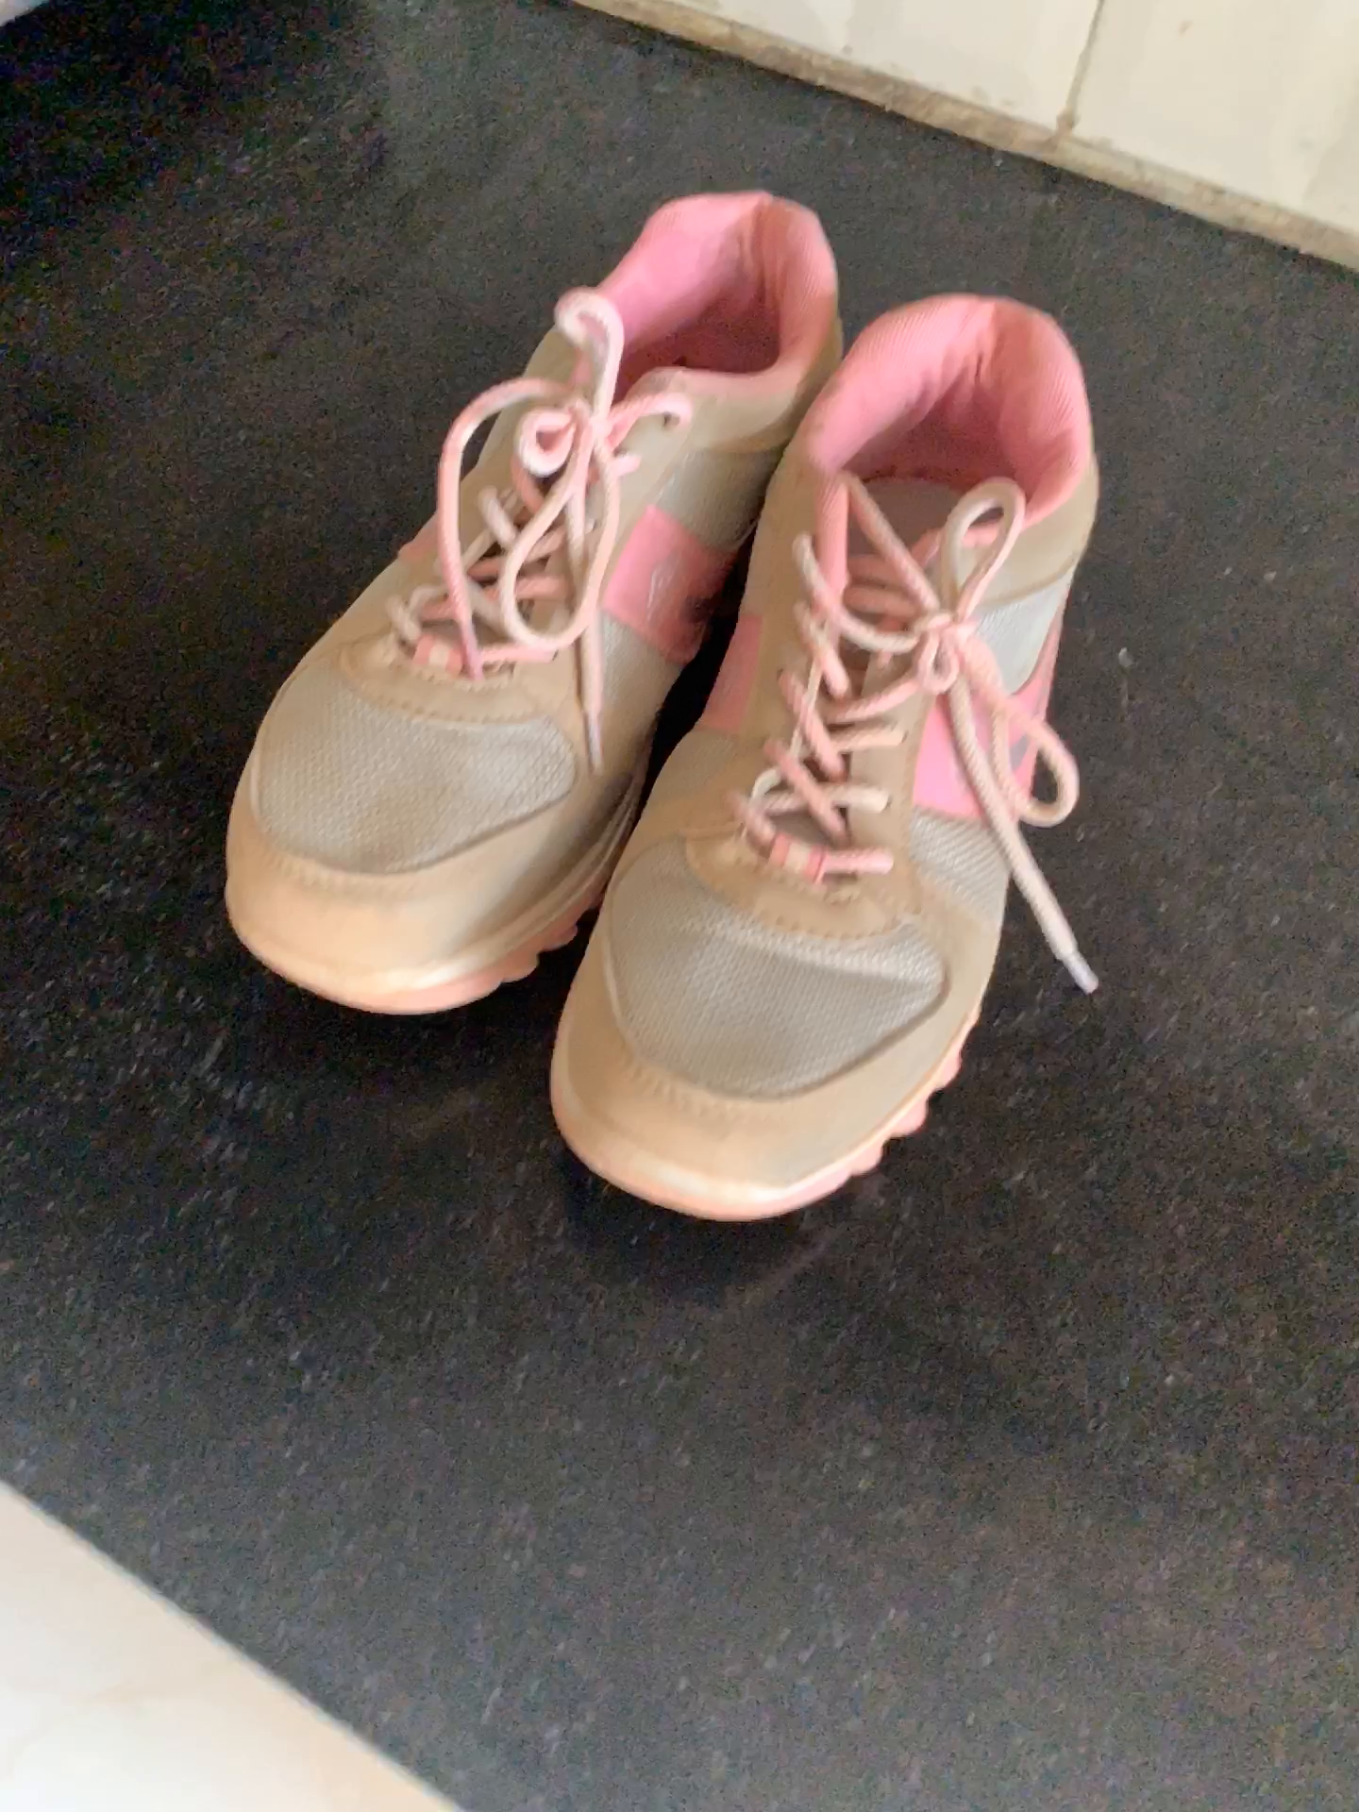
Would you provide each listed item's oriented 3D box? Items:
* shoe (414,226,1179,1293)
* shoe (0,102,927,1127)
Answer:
[{"bbox_3d":[0.037,-0.044,0.339,0.090,0.099,0.231,20,60,10],"label":"shoe"},{"bbox_3d":[-0.036,-0.084,0.358,0.100,0.099,0.241,24,61,12],"label":"shoe"}]
